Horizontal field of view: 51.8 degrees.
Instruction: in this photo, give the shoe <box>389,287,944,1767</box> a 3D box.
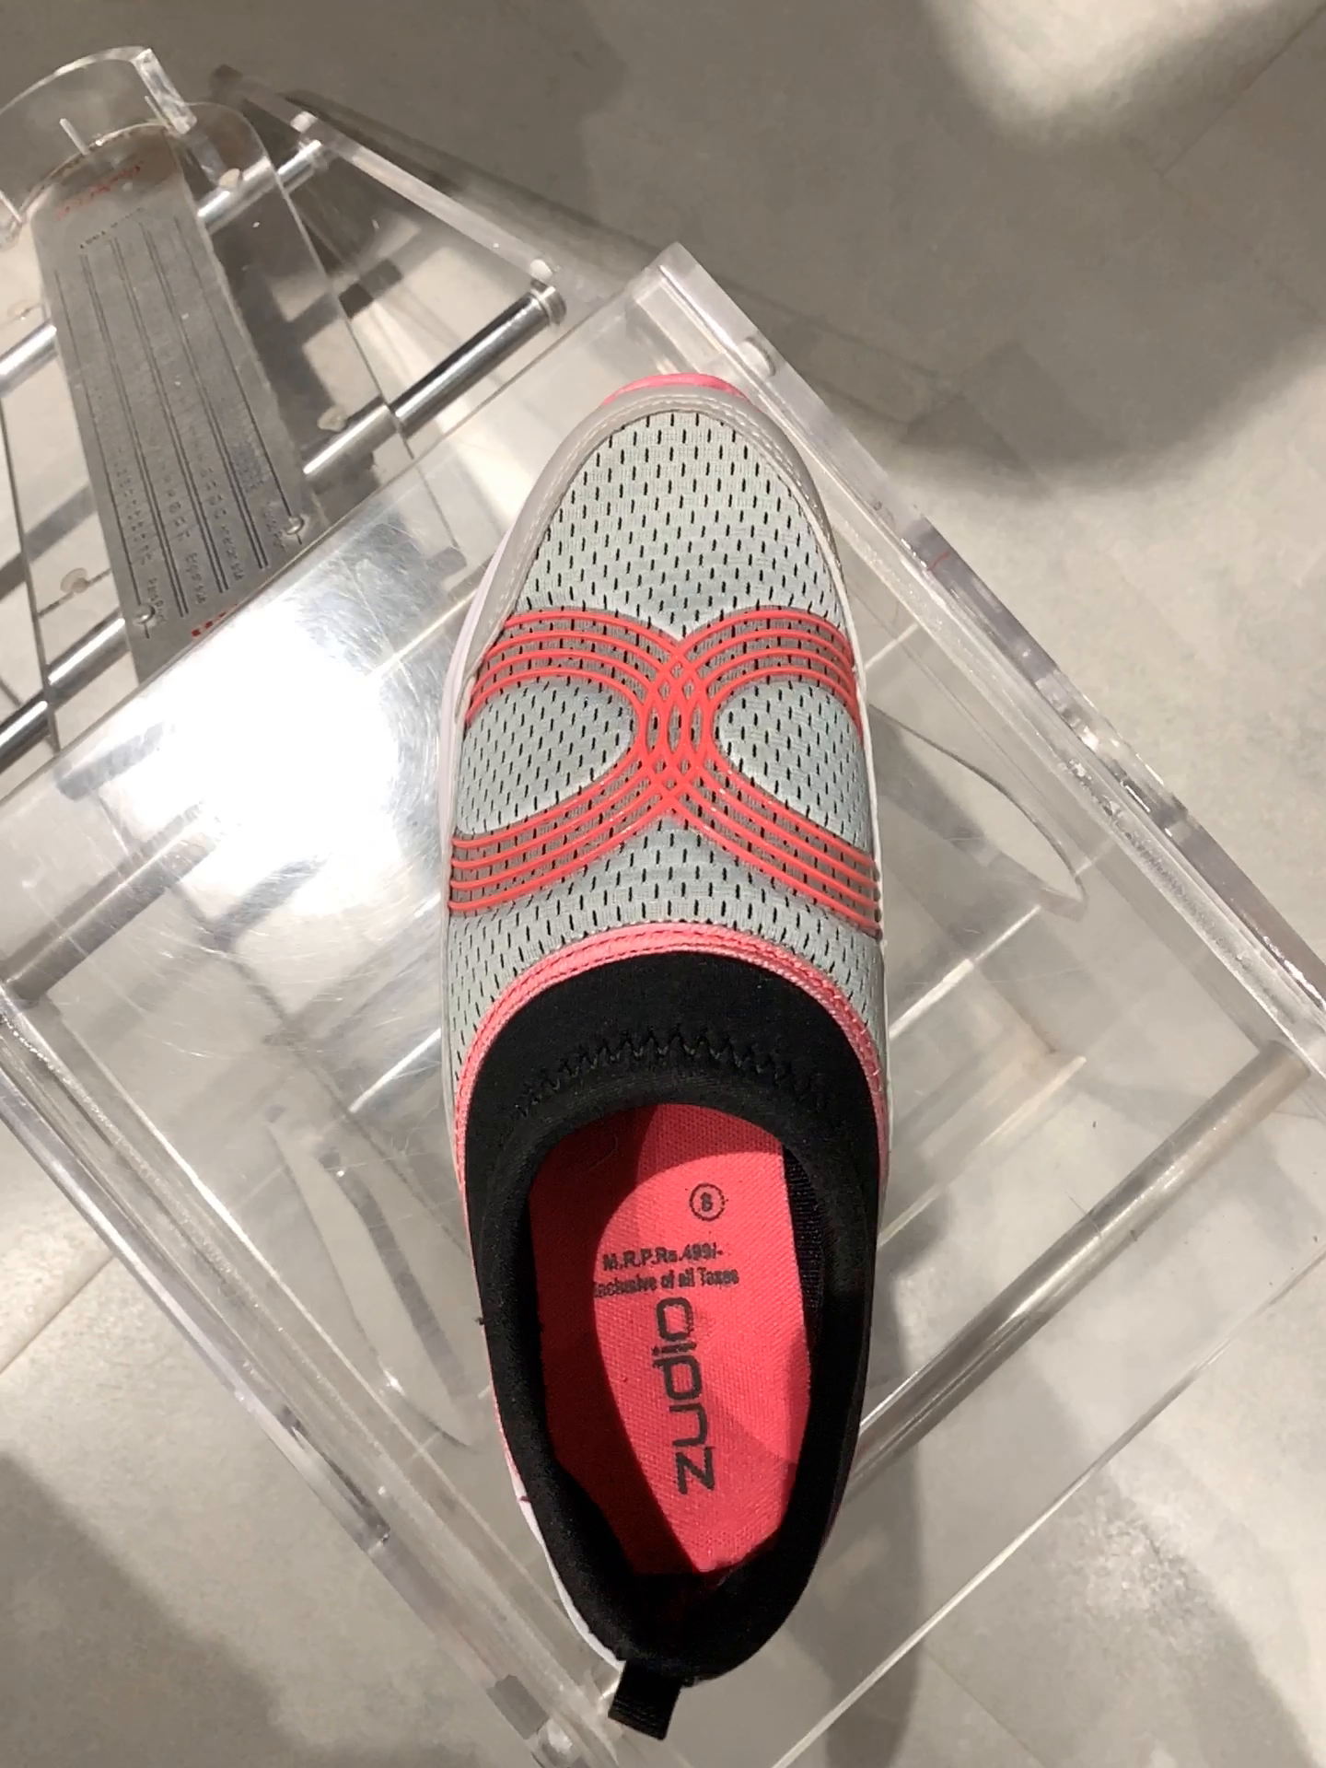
[{"bbox_3d":[-0.003,0.028,0.316,0.100,0.080,0.300,-2,85,-3],"label":"shoe"}]
